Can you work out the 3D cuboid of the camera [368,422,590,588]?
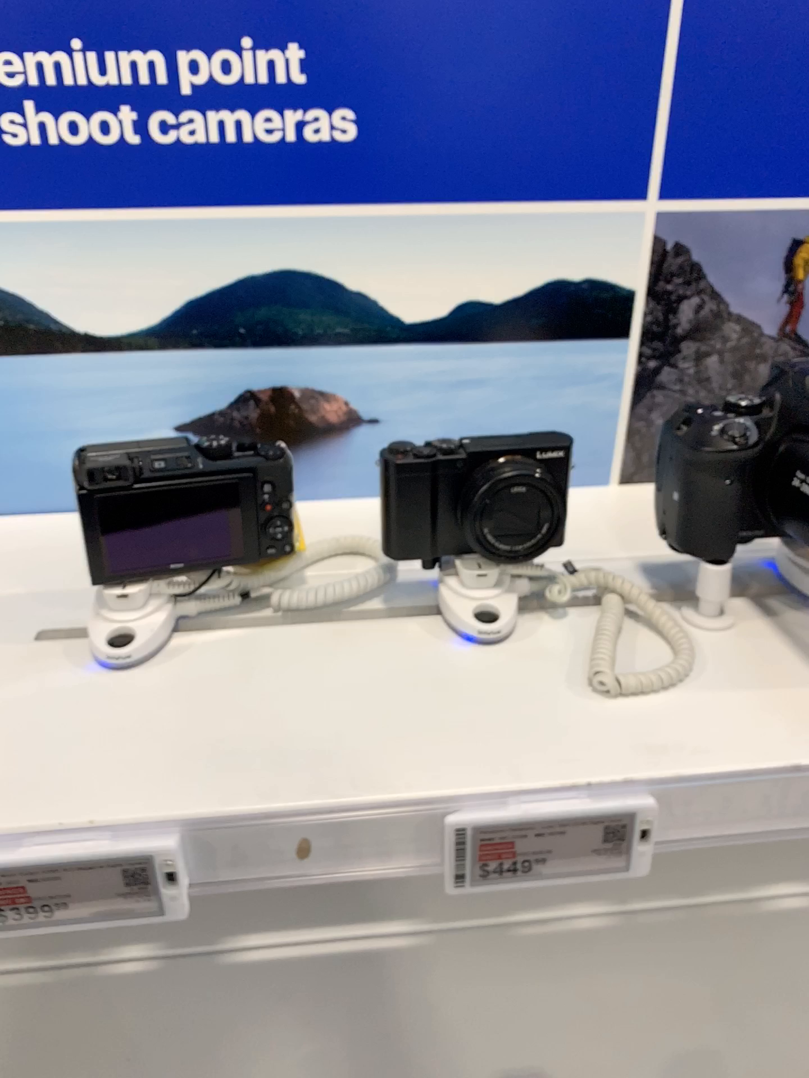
[{"bbox_3d":[0.038,-0.020,0.463,0.110,0.070,0.050,-4,25,-5],"label":"camera"}]

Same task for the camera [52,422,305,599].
[{"bbox_3d":[-0.121,-0.018,0.464,0.120,0.070,0.050,-7,25,-13],"label":"camera"}]

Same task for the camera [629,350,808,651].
[{"bbox_3d":[0.227,-0.030,0.446,0.160,0.099,0.151,-4,25,-6],"label":"camera"}]
